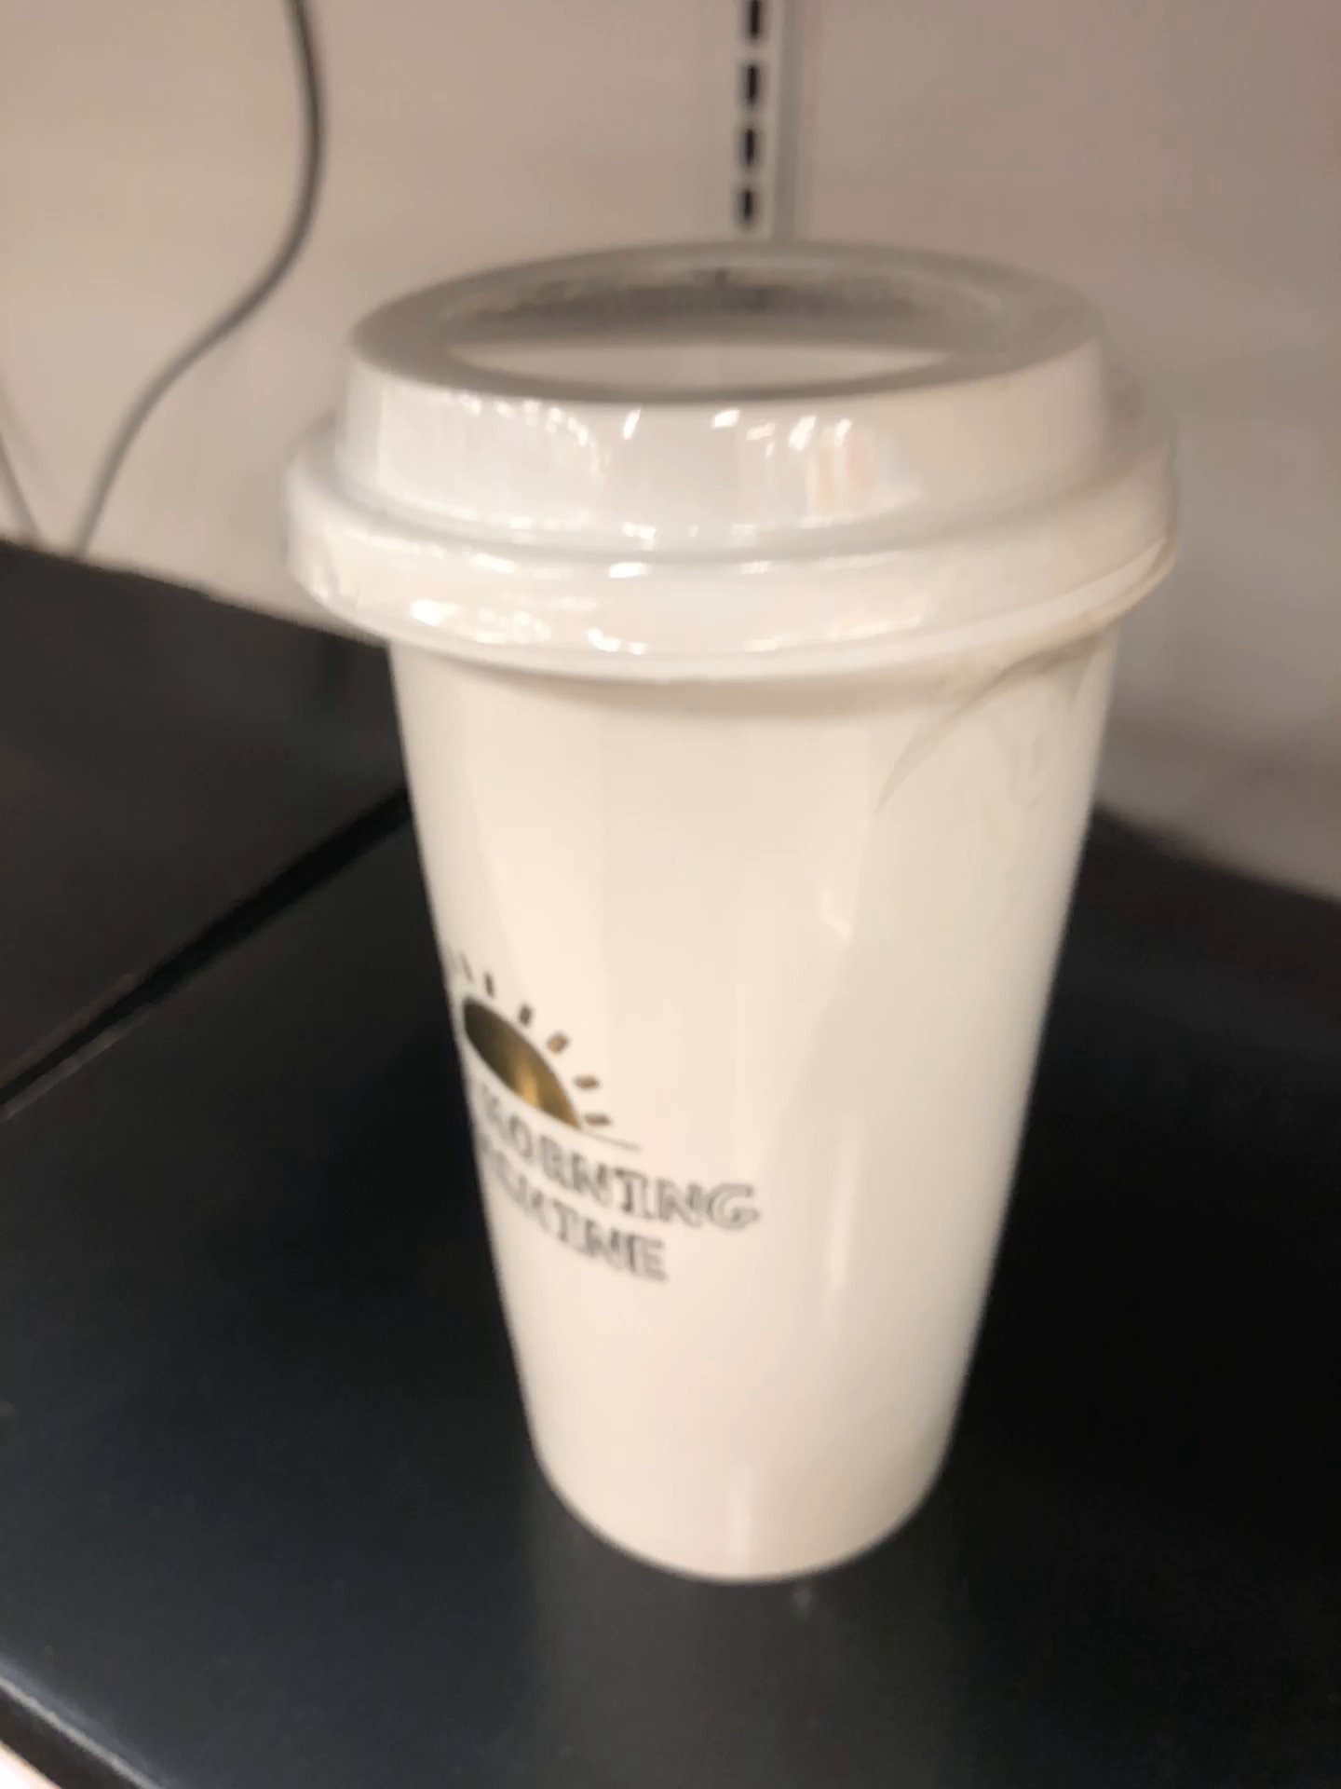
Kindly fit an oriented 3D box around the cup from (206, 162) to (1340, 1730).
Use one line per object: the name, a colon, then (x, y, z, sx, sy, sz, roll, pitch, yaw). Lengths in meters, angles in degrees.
cup: (0.010, 0.002, 0.194, 0.100, 0.149, 0.100, 0, 35, 0)
